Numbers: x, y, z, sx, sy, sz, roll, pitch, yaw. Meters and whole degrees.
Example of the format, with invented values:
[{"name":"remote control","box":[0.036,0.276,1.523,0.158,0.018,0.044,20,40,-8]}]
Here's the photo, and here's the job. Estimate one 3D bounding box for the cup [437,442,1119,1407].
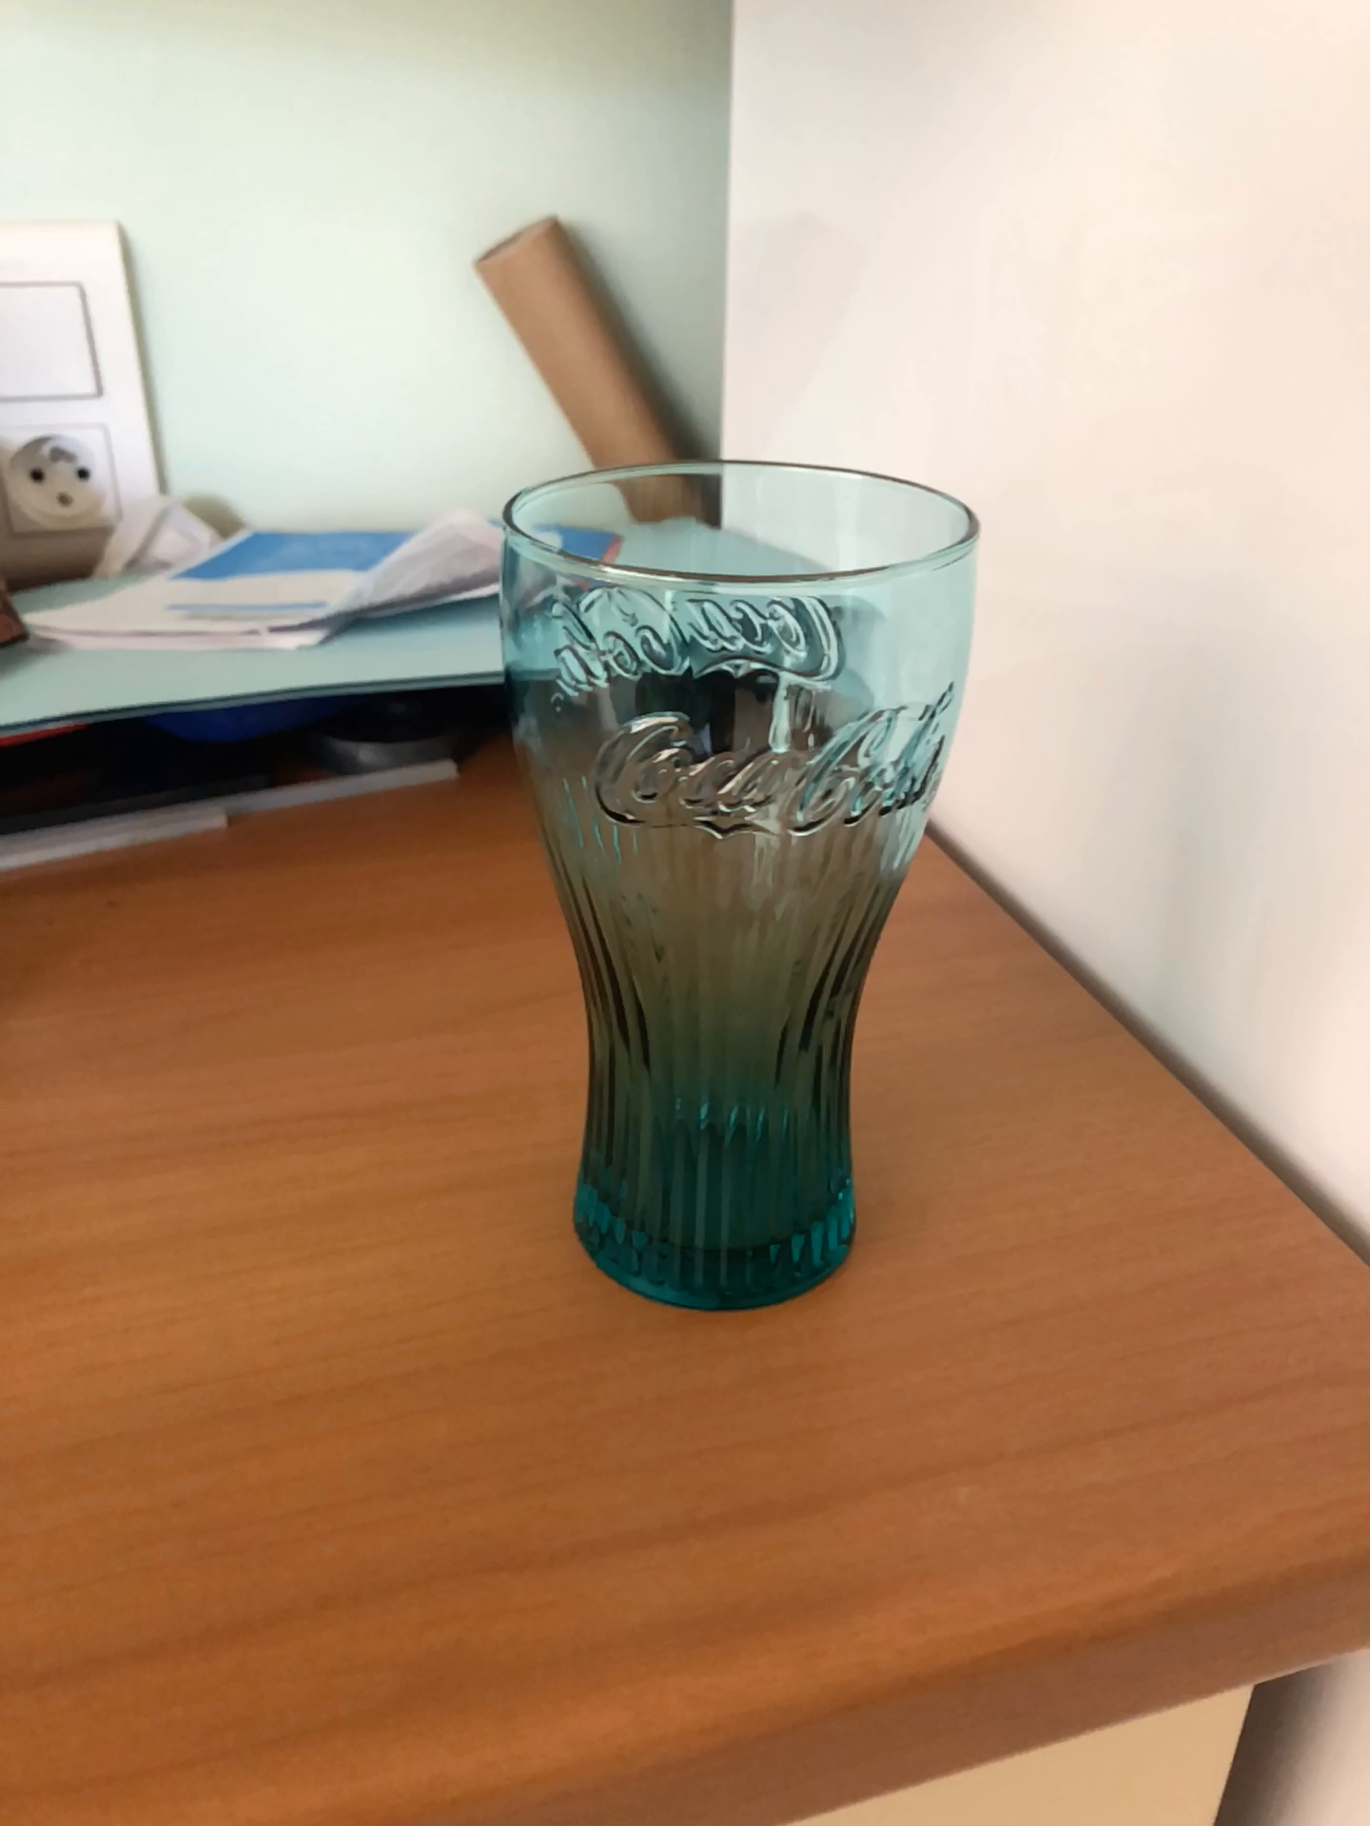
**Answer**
[{"name":"cup","box":[0.009,-0.003,0.272,0.080,0.139,0.080,1,28,-1]}]
